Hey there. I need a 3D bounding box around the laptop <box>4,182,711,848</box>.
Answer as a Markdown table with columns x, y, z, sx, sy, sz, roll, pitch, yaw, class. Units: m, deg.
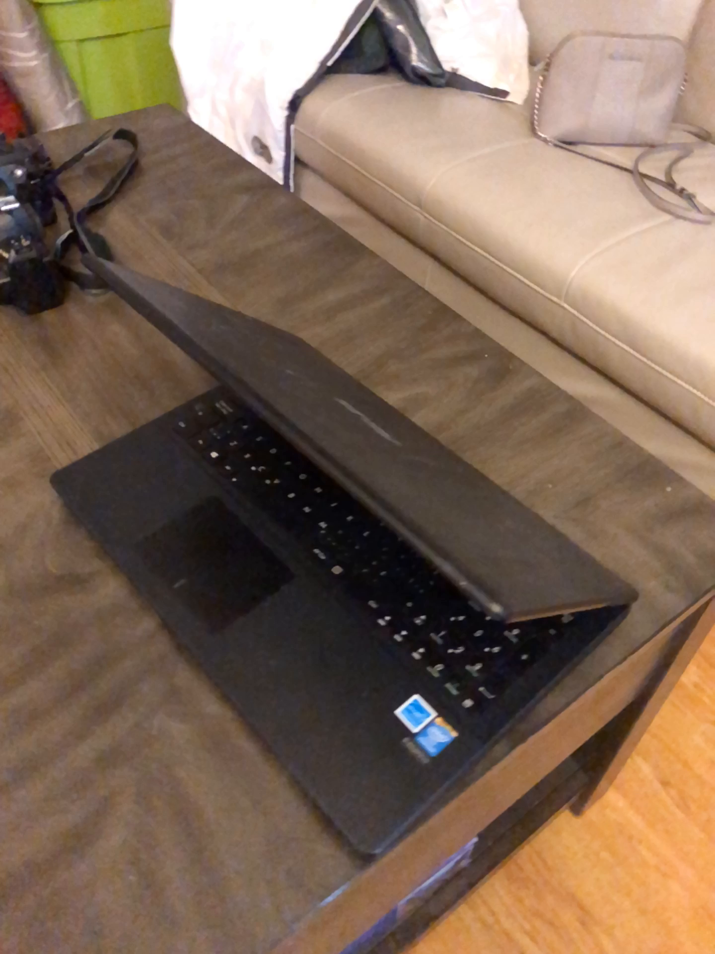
| x | y | z | sx | sy | sz | roll | pitch | yaw | class |
| --- | --- | --- | --- | --- | --- | --- | --- | --- | --- |
| -0.019 | -0.012 | 0.527 | 0.238 | 0.164 | 0.373 | -33 | 56 | -27 | laptop |
